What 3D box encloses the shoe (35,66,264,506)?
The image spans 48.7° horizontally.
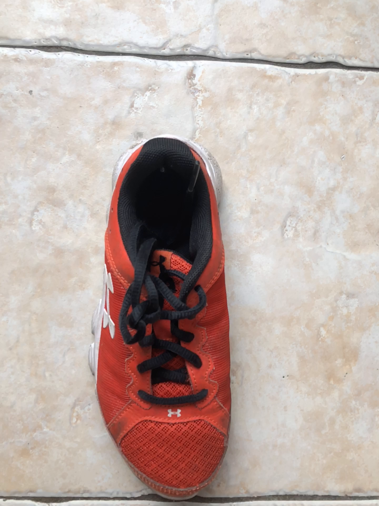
[{"bbox_3d":[-0.018,0.037,0.237,0.100,0.100,0.240,0,88,-2],"label":"shoe"}]
